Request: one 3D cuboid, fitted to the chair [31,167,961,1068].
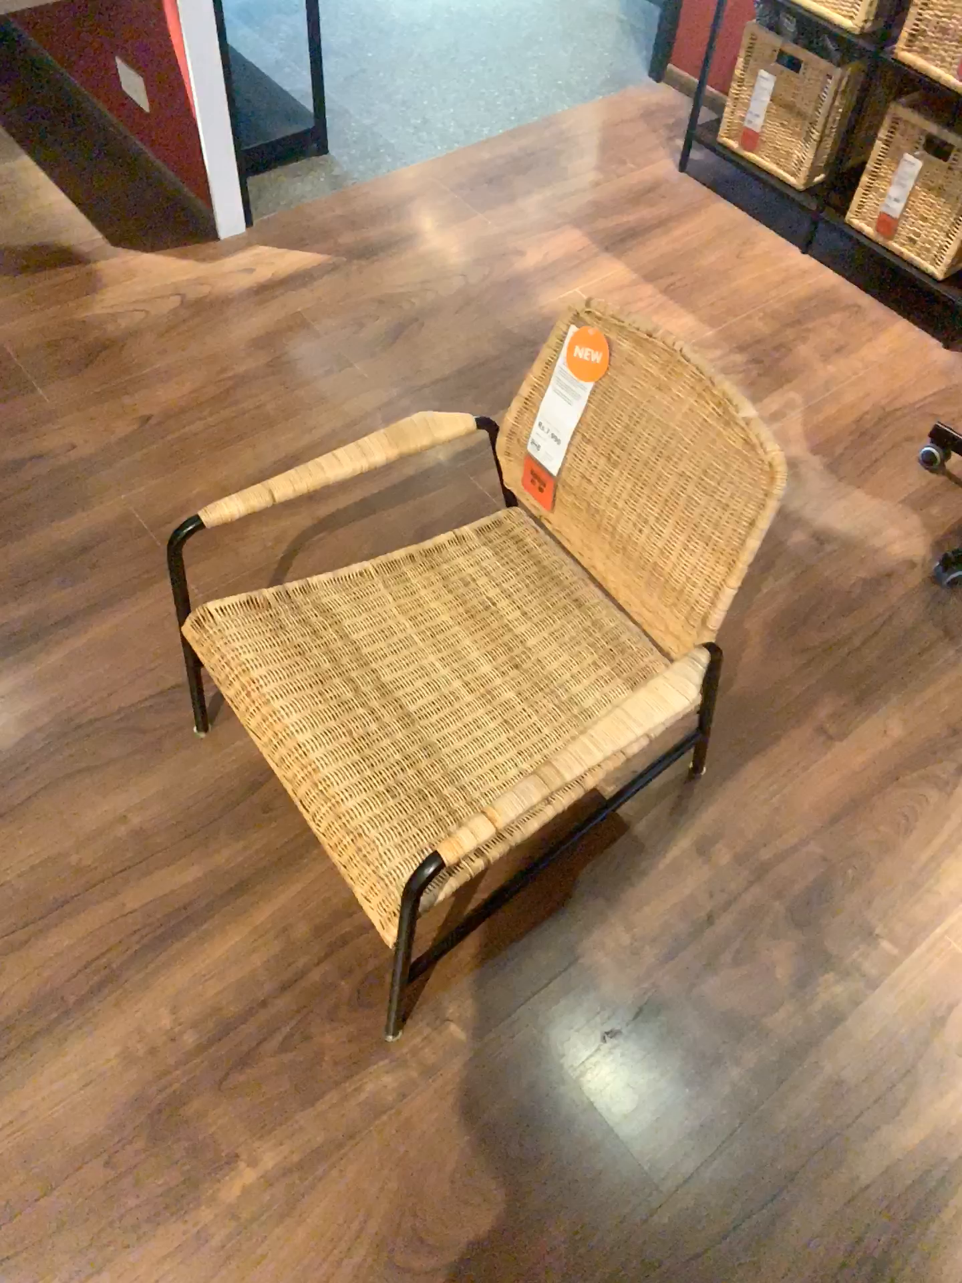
[{"bbox_3d":[0.004,-0.034,1.386,0.791,0.758,0.711,-29,62,-23],"label":"chair"}]
